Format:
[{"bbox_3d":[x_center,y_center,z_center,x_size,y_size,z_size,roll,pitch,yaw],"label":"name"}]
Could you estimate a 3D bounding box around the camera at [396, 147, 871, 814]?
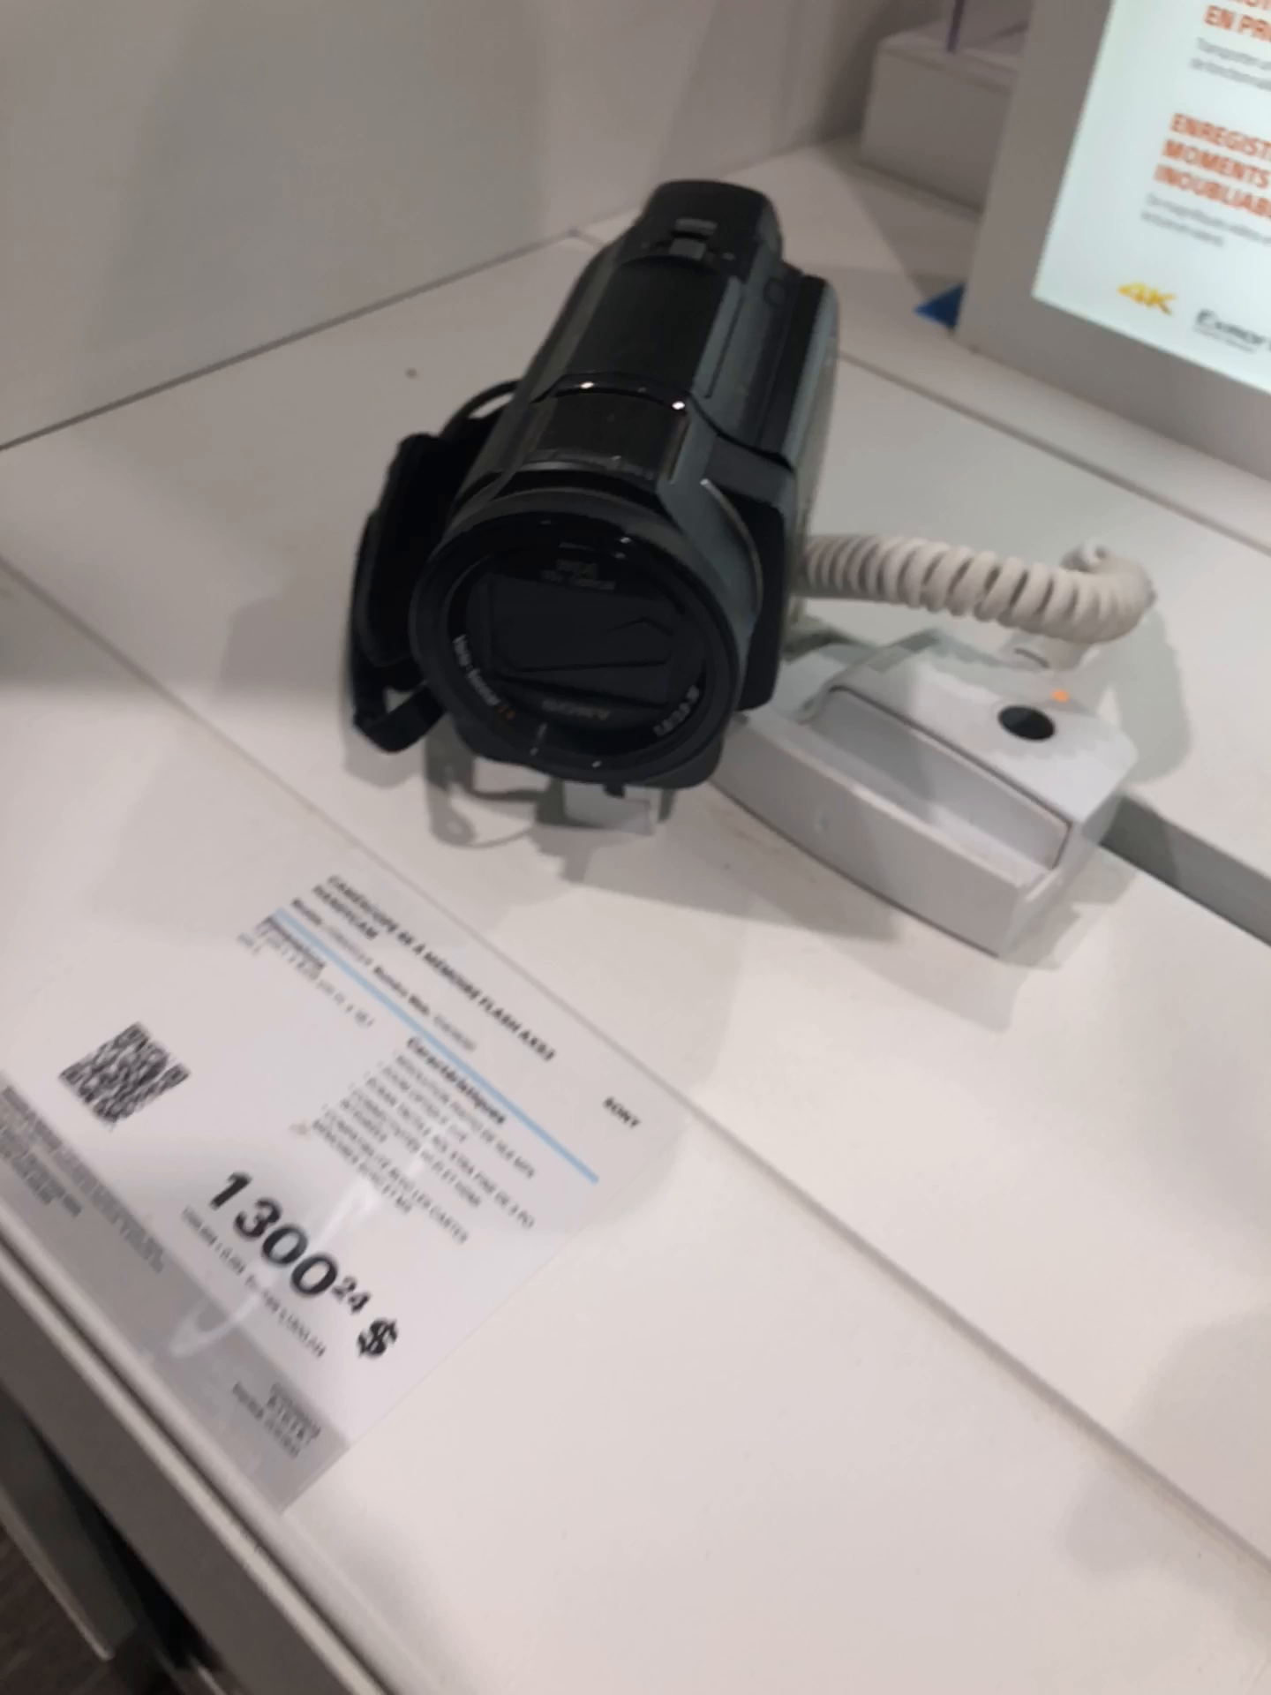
[{"bbox_3d":[0.005,-0.089,0.315,0.073,0.070,0.149,10,44,4],"label":"camera"}]
